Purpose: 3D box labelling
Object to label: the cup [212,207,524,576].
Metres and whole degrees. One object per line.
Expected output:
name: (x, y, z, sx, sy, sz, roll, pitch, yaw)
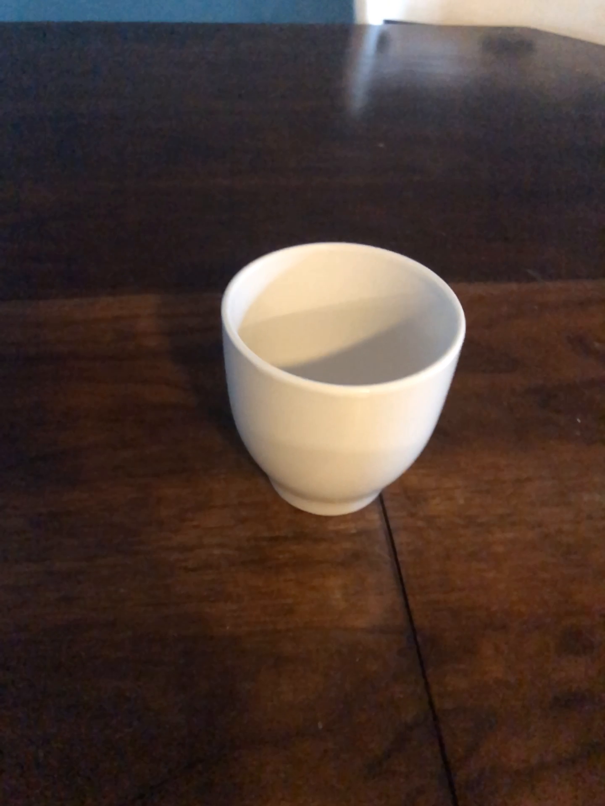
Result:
cup: (0.016, -0.013, 0.332, 0.110, 0.100, 0.150, -4, 44, -7)
